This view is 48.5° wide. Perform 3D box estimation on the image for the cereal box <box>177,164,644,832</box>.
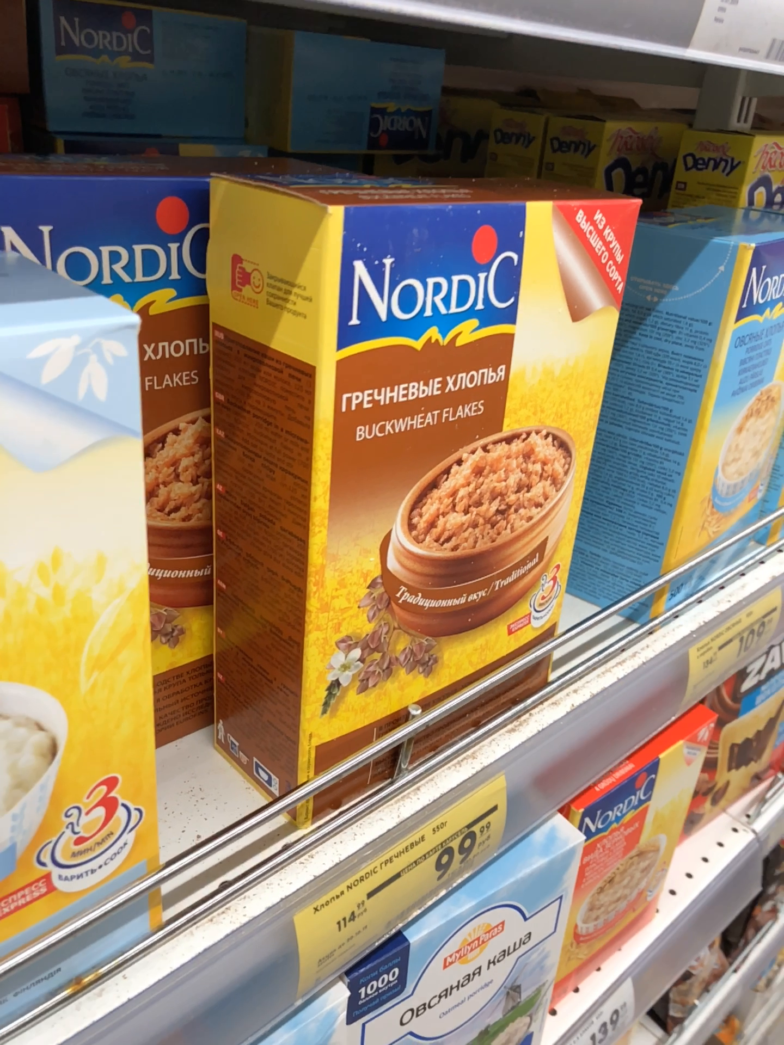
[{"bbox_3d":[0.004,-0.017,0.324,0.140,0.209,0.070,-19,34,-39],"label":"cereal box"}]
